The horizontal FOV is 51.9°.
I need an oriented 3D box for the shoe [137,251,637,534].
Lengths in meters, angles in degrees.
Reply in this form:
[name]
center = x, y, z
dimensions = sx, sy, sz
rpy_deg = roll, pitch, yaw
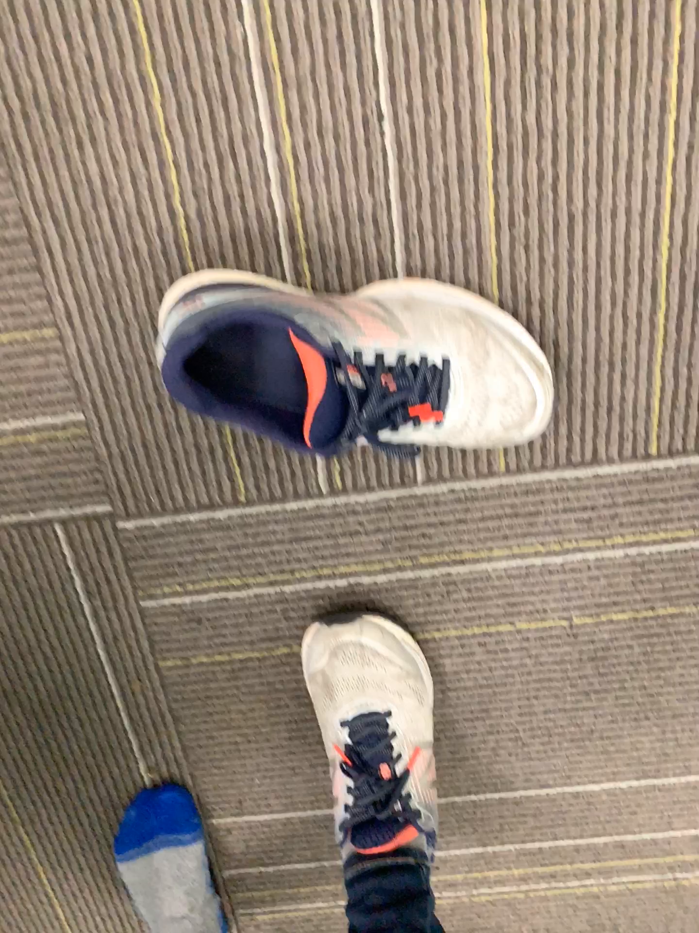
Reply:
[shoe]
center = 0.015, -0.051, 0.448
dimensions = 0.260, 0.119, 0.110
rpy_deg = 7, 115, -3
